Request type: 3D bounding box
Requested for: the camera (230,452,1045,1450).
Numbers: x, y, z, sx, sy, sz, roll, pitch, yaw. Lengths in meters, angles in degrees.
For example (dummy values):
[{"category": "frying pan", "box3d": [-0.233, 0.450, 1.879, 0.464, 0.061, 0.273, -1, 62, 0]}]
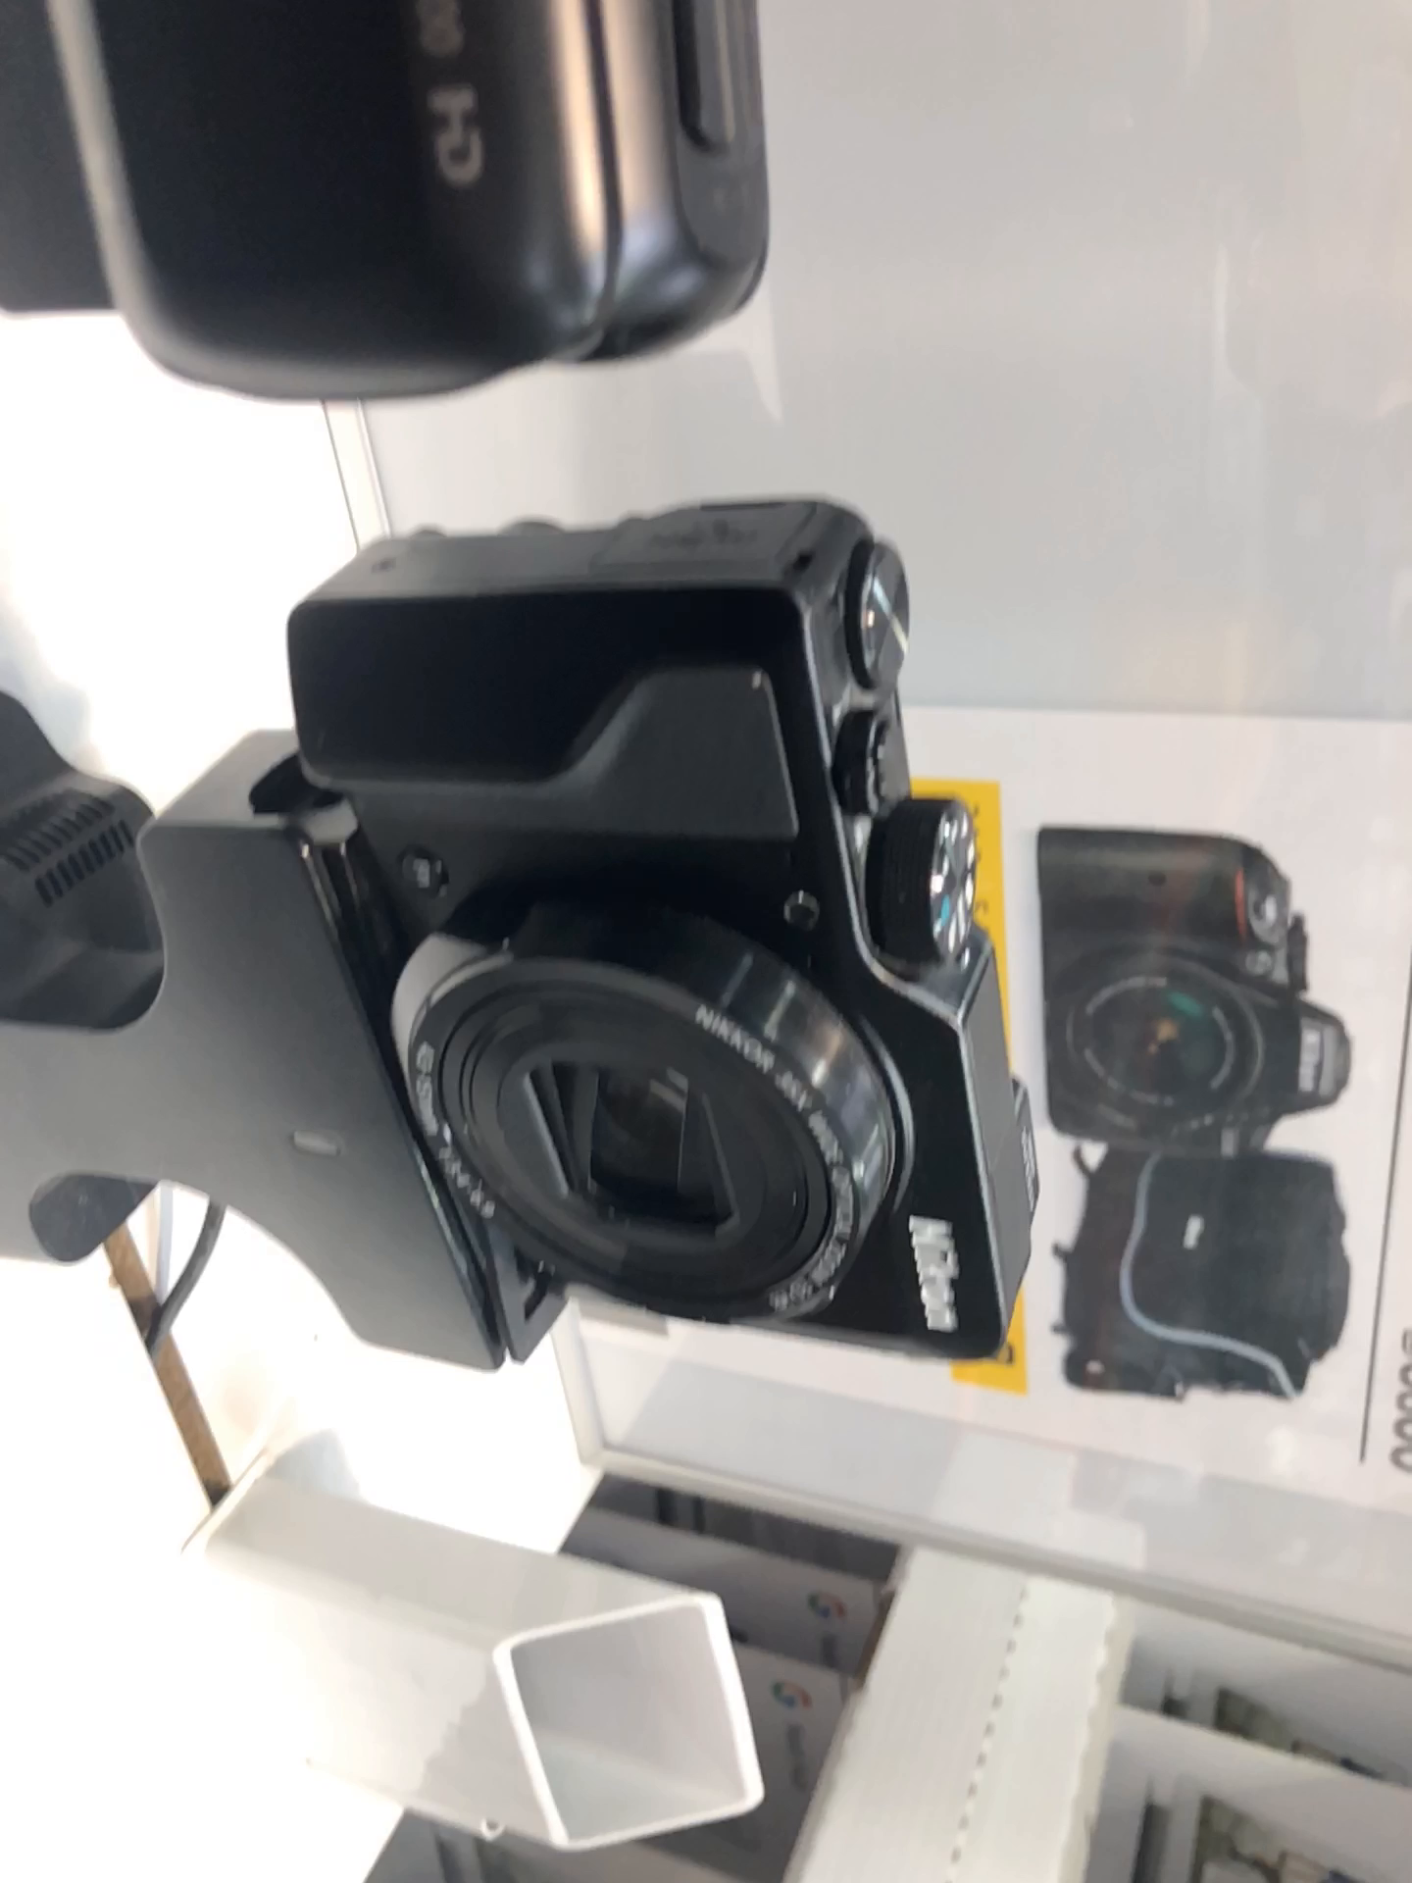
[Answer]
[{"category": "camera", "box3d": [0.002, 0.006, 0.196, 0.044, 0.069, 0.117, -68, 153, -46]}]
